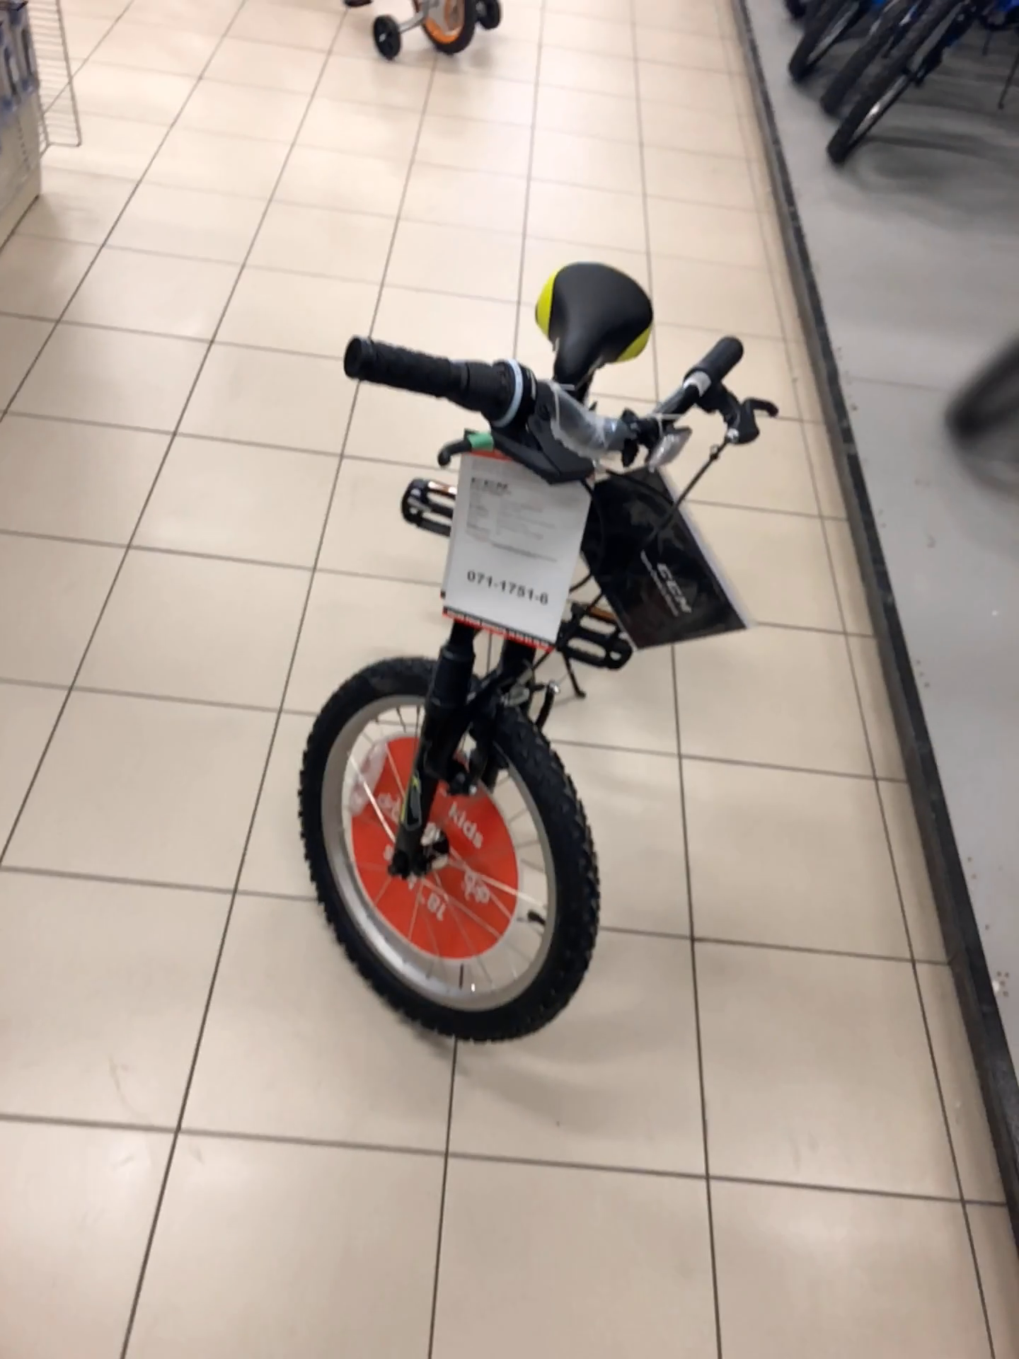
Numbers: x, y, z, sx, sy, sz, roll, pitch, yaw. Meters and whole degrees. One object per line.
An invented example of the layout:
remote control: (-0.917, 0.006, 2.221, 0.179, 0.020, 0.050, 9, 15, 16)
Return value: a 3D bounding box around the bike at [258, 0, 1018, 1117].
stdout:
bike: (0.100, -0.238, 1.427, 0.549, 0.860, 1.201, 8, 48, -3)
